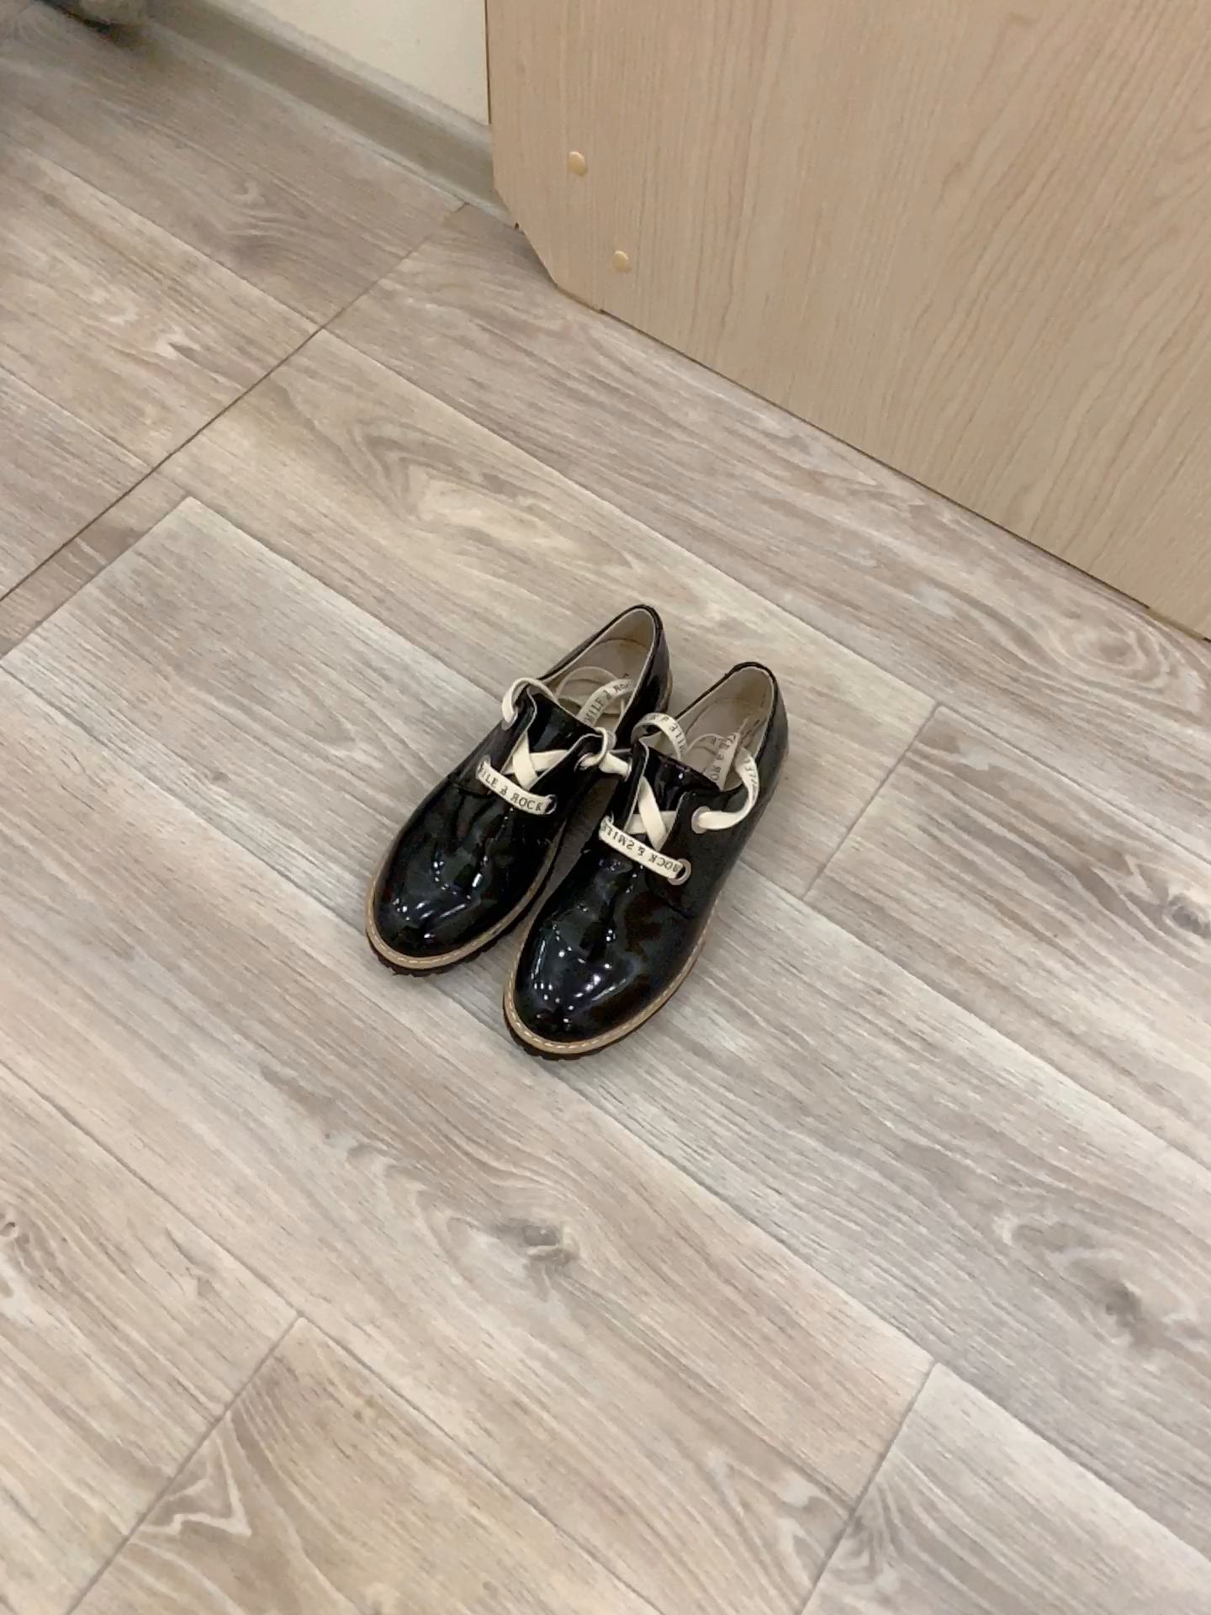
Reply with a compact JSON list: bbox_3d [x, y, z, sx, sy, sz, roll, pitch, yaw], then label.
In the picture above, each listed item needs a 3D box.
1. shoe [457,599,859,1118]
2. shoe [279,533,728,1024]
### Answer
[{"bbox_3d":[0.033,0.025,0.717,0.100,0.100,0.270,28,66,11],"label":"shoe"},{"bbox_3d":[-0.051,-0.021,0.732,0.100,0.100,0.270,35,67,13],"label":"shoe"}]
